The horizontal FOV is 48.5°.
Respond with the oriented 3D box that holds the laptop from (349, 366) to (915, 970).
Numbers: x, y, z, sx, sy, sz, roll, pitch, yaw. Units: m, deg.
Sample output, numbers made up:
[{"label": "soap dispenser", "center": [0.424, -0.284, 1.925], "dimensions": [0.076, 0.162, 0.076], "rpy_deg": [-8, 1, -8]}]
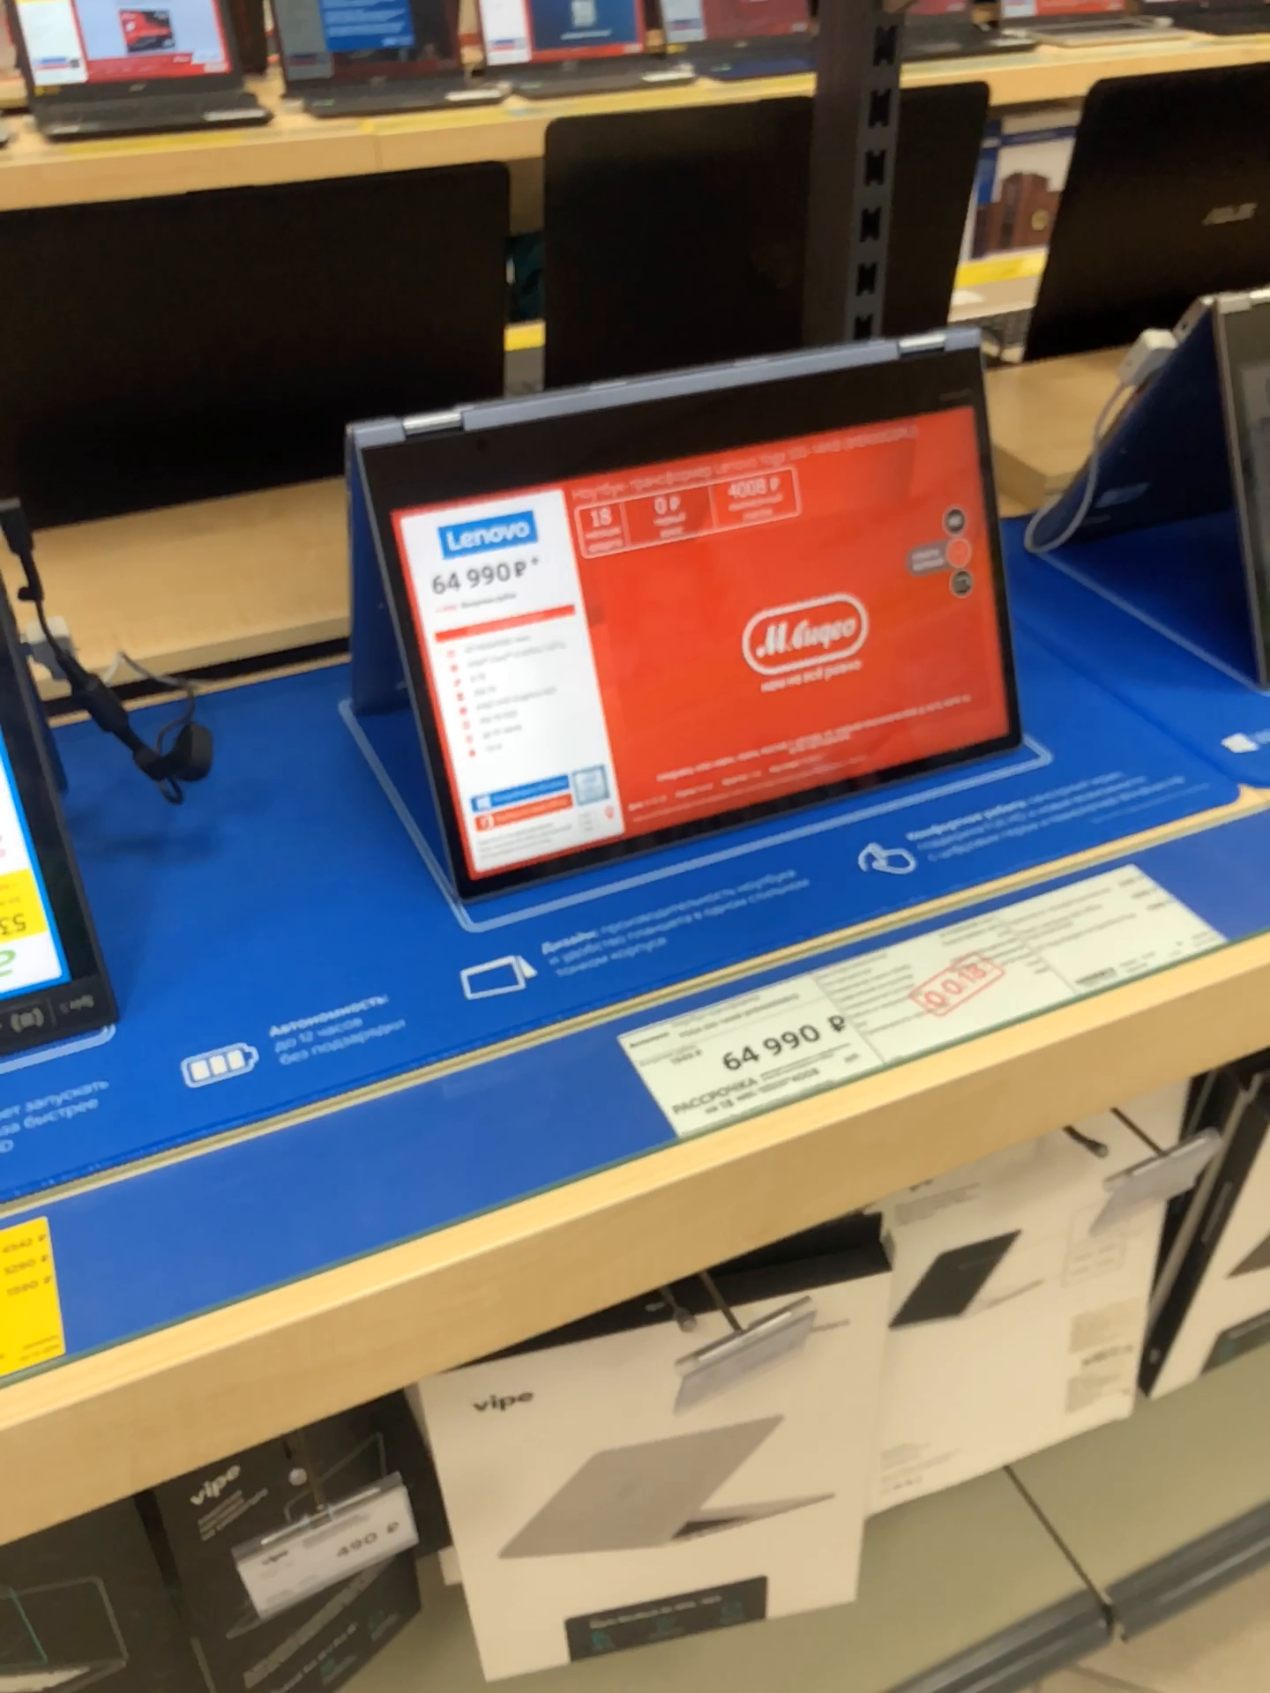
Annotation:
[{"label": "laptop", "center": [-0.008, -0.087, 0.850], "dimensions": [0.306, 0.158, 0.221], "rpy_deg": [-16, 1, -23]}]
